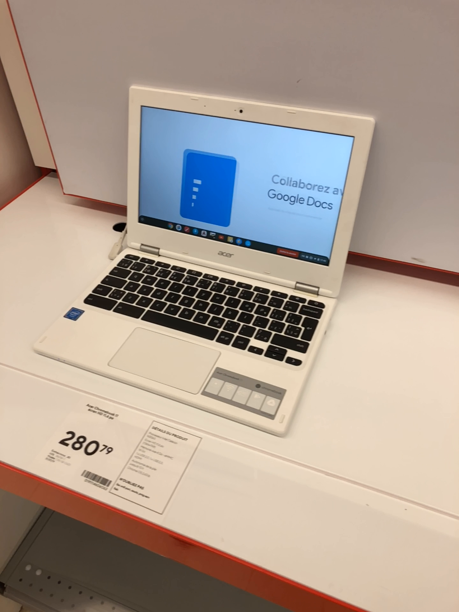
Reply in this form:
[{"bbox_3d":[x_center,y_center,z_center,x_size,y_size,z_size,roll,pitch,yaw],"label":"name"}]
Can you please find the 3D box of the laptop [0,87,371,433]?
[{"bbox_3d":[-0.036,-0.071,0.526,0.282,0.188,0.260,15,46,18],"label":"laptop"}]
